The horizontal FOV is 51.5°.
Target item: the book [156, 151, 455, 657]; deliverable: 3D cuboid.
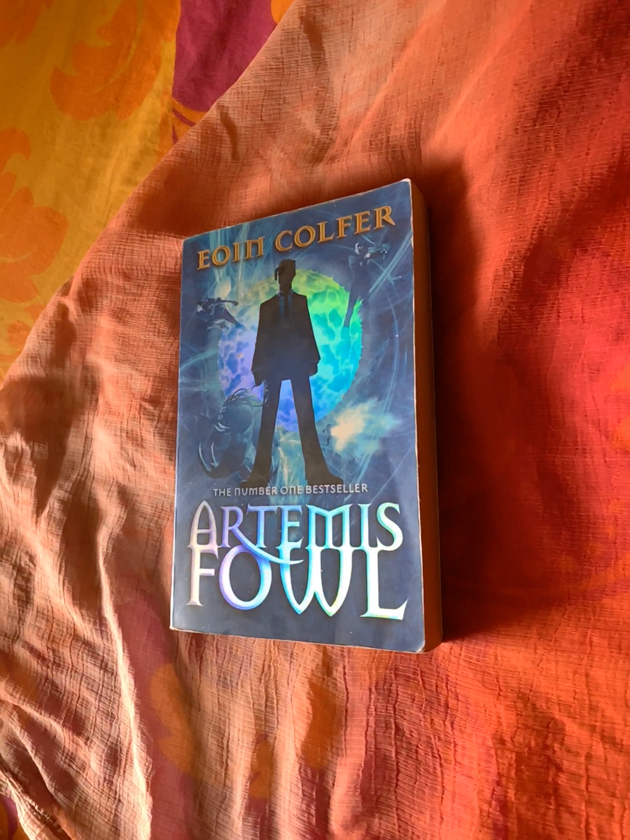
[{"bbox_3d":[-0.010,-0.004,0.289,0.130,0.030,0.190,-5,82,30],"label":"book"}]
